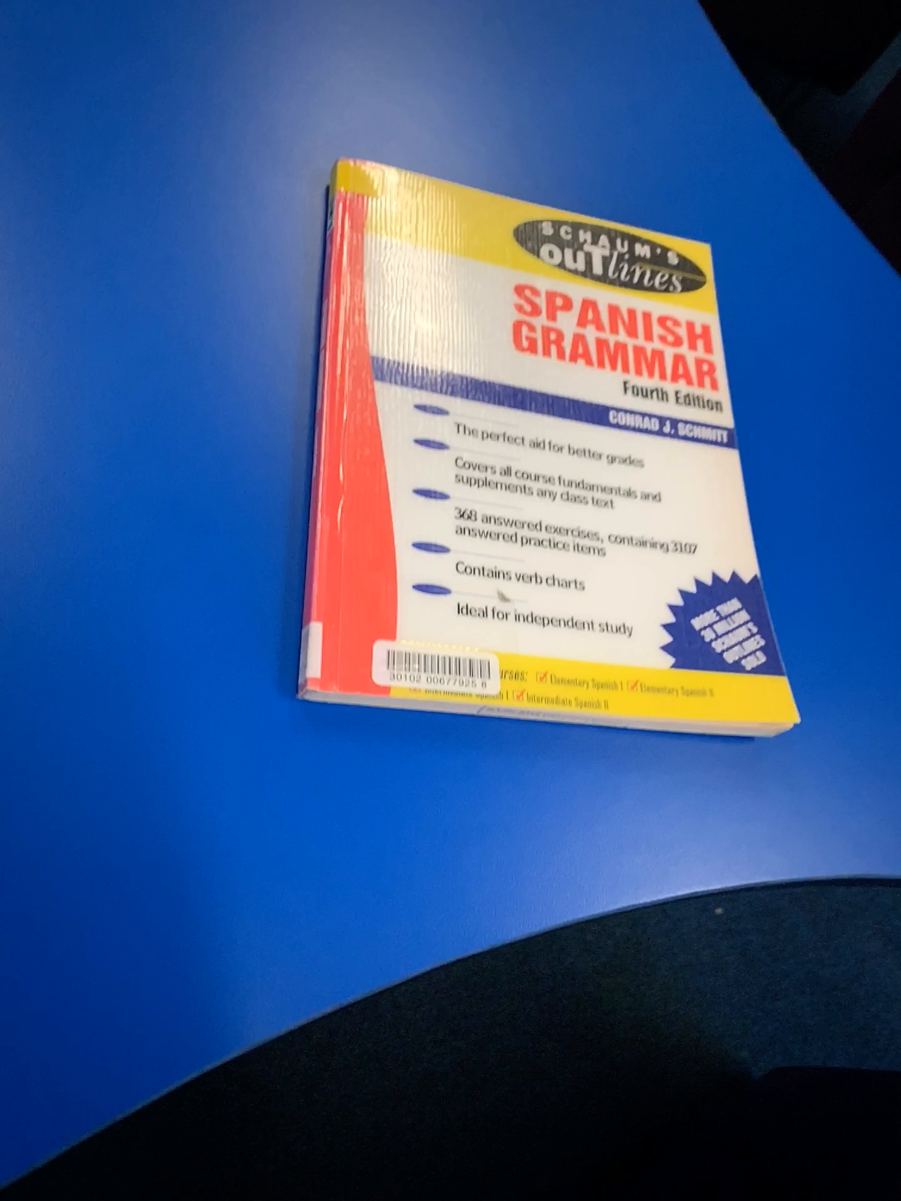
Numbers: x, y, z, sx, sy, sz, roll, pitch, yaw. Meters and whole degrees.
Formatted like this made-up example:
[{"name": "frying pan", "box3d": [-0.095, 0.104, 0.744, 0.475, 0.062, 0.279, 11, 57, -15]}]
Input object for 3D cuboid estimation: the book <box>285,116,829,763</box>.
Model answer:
[{"name": "book", "box3d": [0.043, -0.077, 0.416, 0.210, 0.040, 0.281, 7, 64, -17]}]
